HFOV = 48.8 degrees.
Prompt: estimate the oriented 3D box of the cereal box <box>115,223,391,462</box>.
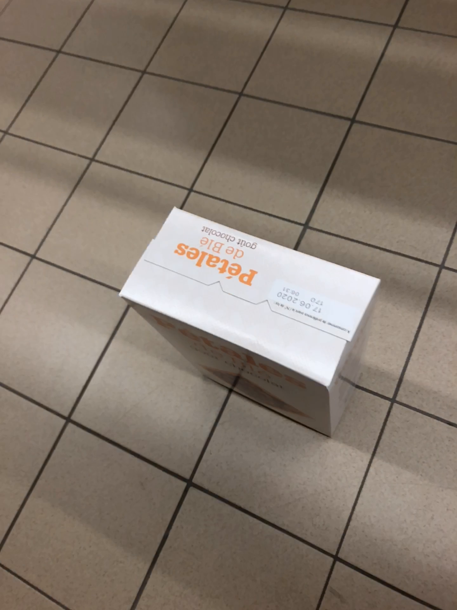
[{"bbox_3d":[0.042,0.059,0.521,0.190,0.289,0.100,22,74,19],"label":"cereal box"}]
